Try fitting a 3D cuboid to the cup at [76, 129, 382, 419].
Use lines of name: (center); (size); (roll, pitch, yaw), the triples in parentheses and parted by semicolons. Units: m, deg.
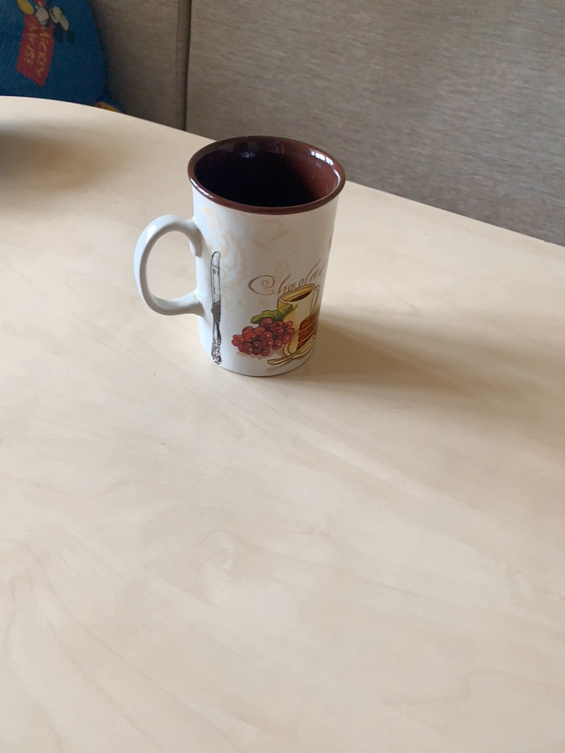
cup: (-0.032, -0.061, 0.331); (0.130, 0.110, 0.090); (-15, 47, -19)
